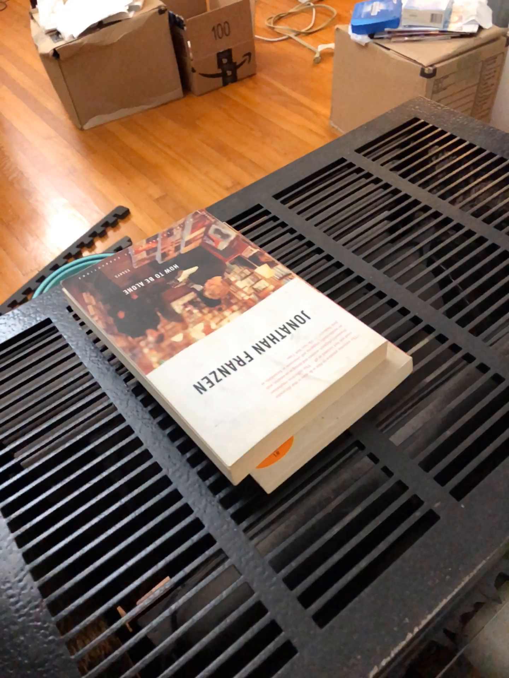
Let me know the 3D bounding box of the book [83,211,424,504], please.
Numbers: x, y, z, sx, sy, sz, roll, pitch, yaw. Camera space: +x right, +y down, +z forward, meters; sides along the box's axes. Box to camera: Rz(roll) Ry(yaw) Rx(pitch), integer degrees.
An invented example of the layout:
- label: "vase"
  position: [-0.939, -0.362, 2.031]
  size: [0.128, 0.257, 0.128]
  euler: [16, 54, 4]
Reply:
- label: "book"
  position: [-0.008, -0.005, 0.422]
  size: [0.150, 0.030, 0.211]
  euler: [-35, 56, -22]

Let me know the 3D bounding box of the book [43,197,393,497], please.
- label: "book"
  position: [-0.033, -0.013, 0.408]
  size: [0.150, 0.030, 0.211]
  euler: [-35, 56, -22]
